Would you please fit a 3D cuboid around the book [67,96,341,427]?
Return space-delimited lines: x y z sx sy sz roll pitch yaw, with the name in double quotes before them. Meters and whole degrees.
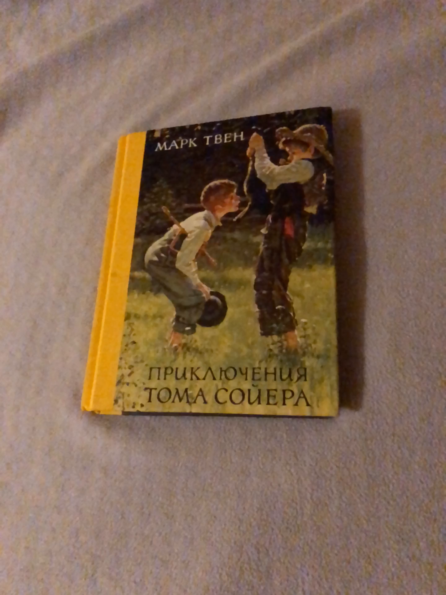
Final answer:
"book" -0.008 -0.029 0.346 0.171 0.030 0.225 -2 69 15
